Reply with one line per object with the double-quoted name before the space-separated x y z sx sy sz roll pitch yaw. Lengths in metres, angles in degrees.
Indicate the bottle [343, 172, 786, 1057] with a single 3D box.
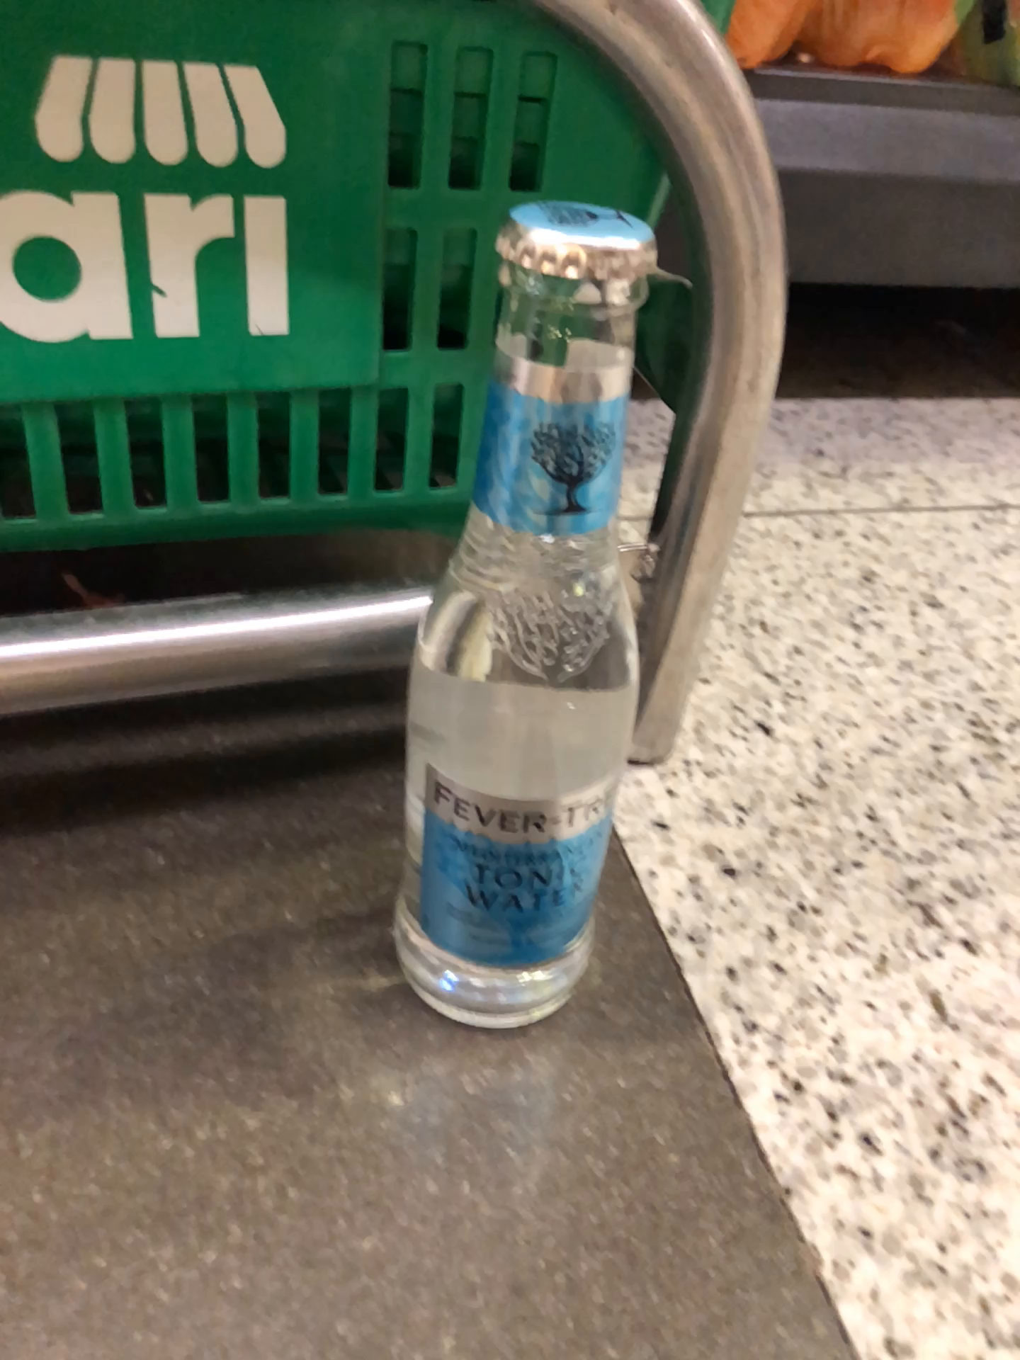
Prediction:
"bottle" 0.000 -0.004 0.248 0.060 0.189 0.050 -6 37 -18
